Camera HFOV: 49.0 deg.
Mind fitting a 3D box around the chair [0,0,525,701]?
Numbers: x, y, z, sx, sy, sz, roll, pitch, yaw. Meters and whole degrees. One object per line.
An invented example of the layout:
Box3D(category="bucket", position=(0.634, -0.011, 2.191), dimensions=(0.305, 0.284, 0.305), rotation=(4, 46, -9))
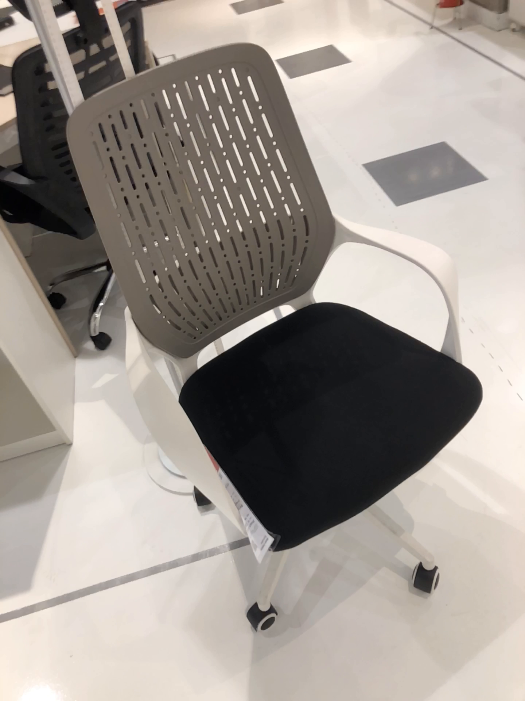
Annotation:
Box3D(category="chair", position=(0.101, 0.032, 1.101), dimensions=(0.691, 1.003, 0.674), rotation=(-30, 46, -17))
